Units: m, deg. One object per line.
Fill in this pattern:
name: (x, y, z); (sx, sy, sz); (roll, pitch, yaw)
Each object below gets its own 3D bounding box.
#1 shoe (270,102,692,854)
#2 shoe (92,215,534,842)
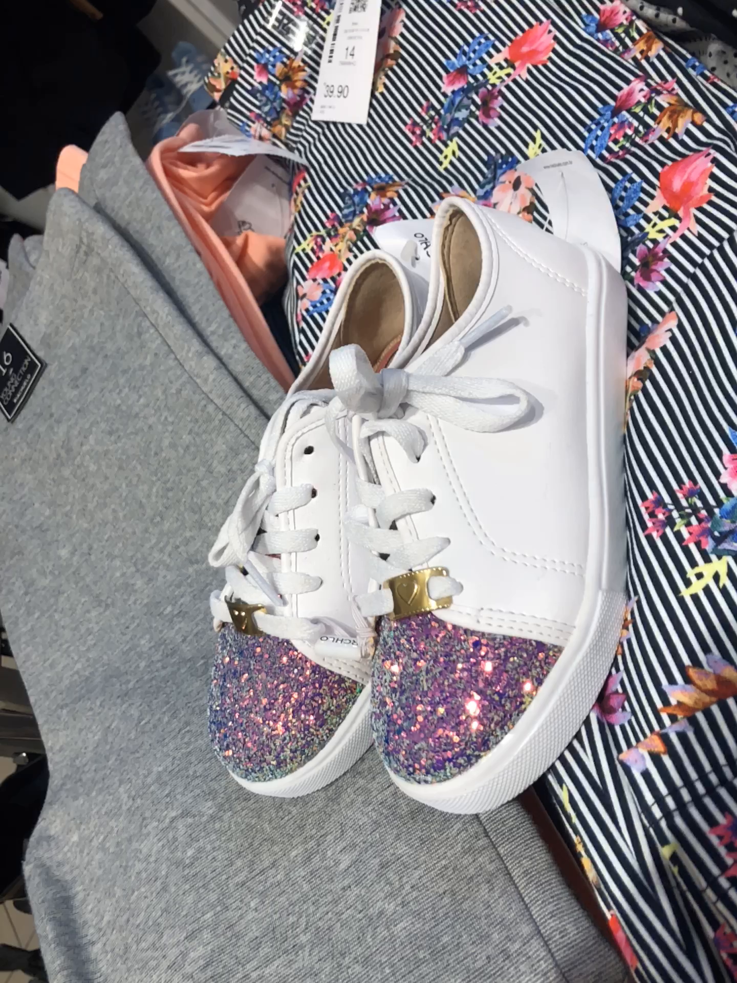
shoe: (0.042, -0.004, 0.258); (0.080, 0.070, 0.200); (-9, 63, 45)
shoe: (-0.014, 0.011, 0.290); (0.080, 0.070, 0.190); (5, 73, 41)
